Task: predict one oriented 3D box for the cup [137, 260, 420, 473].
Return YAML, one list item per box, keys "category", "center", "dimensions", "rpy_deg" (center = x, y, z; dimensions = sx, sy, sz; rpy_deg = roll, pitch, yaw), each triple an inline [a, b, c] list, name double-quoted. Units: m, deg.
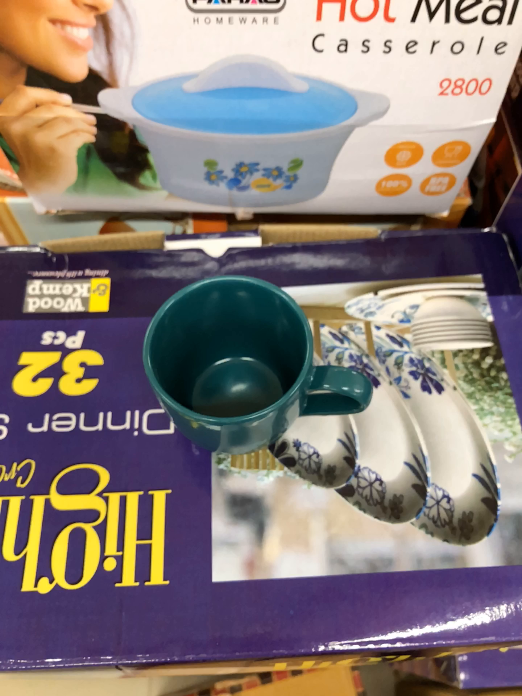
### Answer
- category: "cup"
  center: [0.004, 0.008, 0.221]
  dimensions: [0.090, 0.050, 0.060]
  rpy_deg: [-3, 62, -3]
